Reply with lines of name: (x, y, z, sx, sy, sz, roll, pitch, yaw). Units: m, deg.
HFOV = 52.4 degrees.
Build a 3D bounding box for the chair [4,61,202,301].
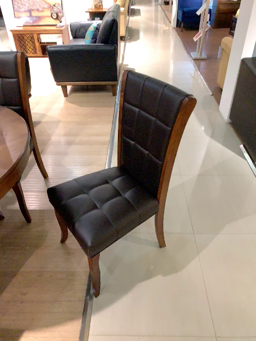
chair: (-0.102, 0.045, 1.330, 0.601, 0.936, 0.532, -25, 44, -27)
